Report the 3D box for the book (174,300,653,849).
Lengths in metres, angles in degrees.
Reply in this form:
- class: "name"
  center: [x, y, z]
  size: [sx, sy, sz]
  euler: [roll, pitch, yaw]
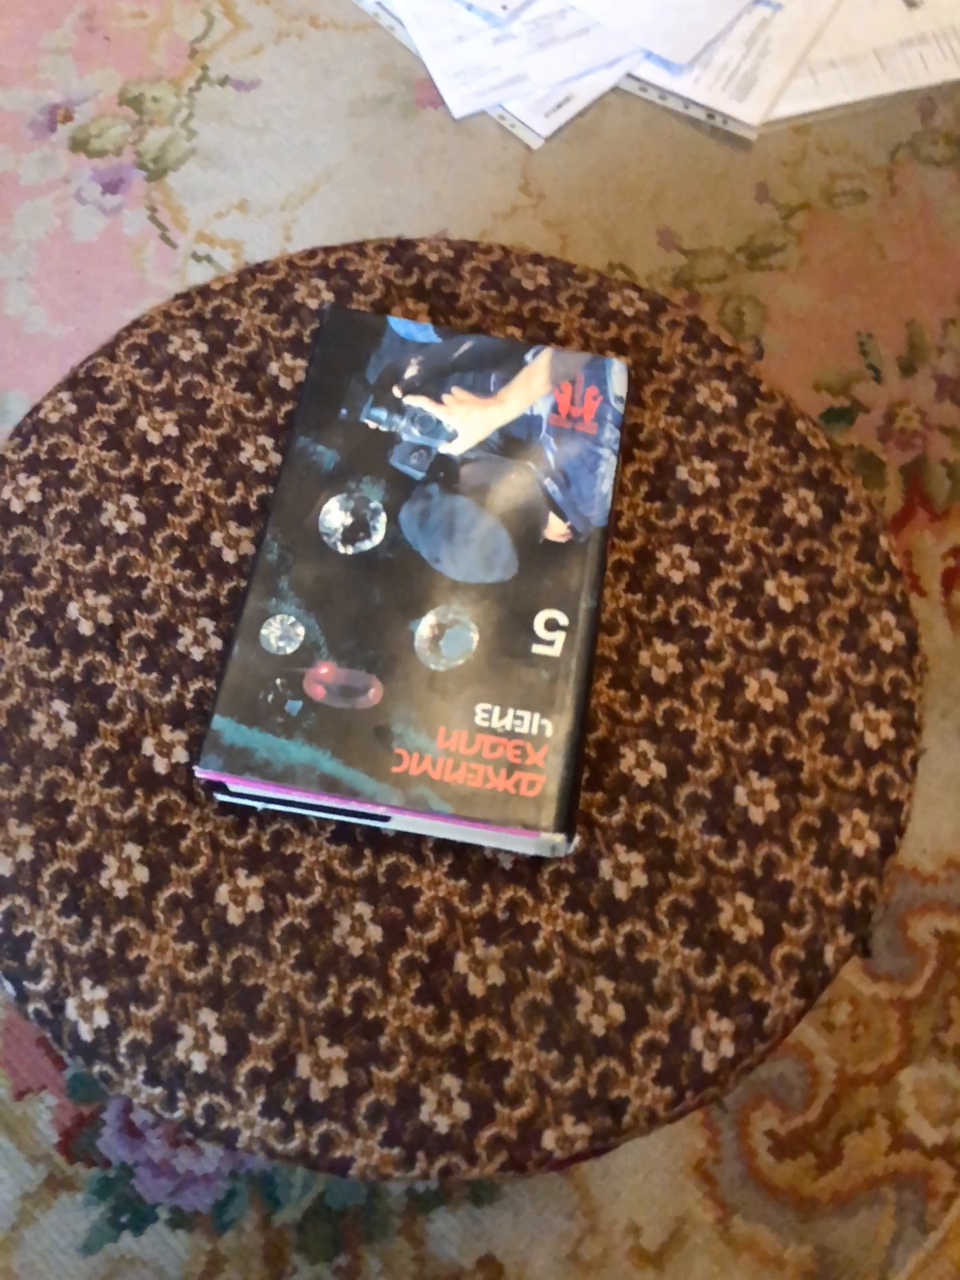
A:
- class: "book"
  center: [-0.015, -0.035, 0.404]
  size: [0.140, 0.020, 0.206]
  euler: [11, 63, 1]
